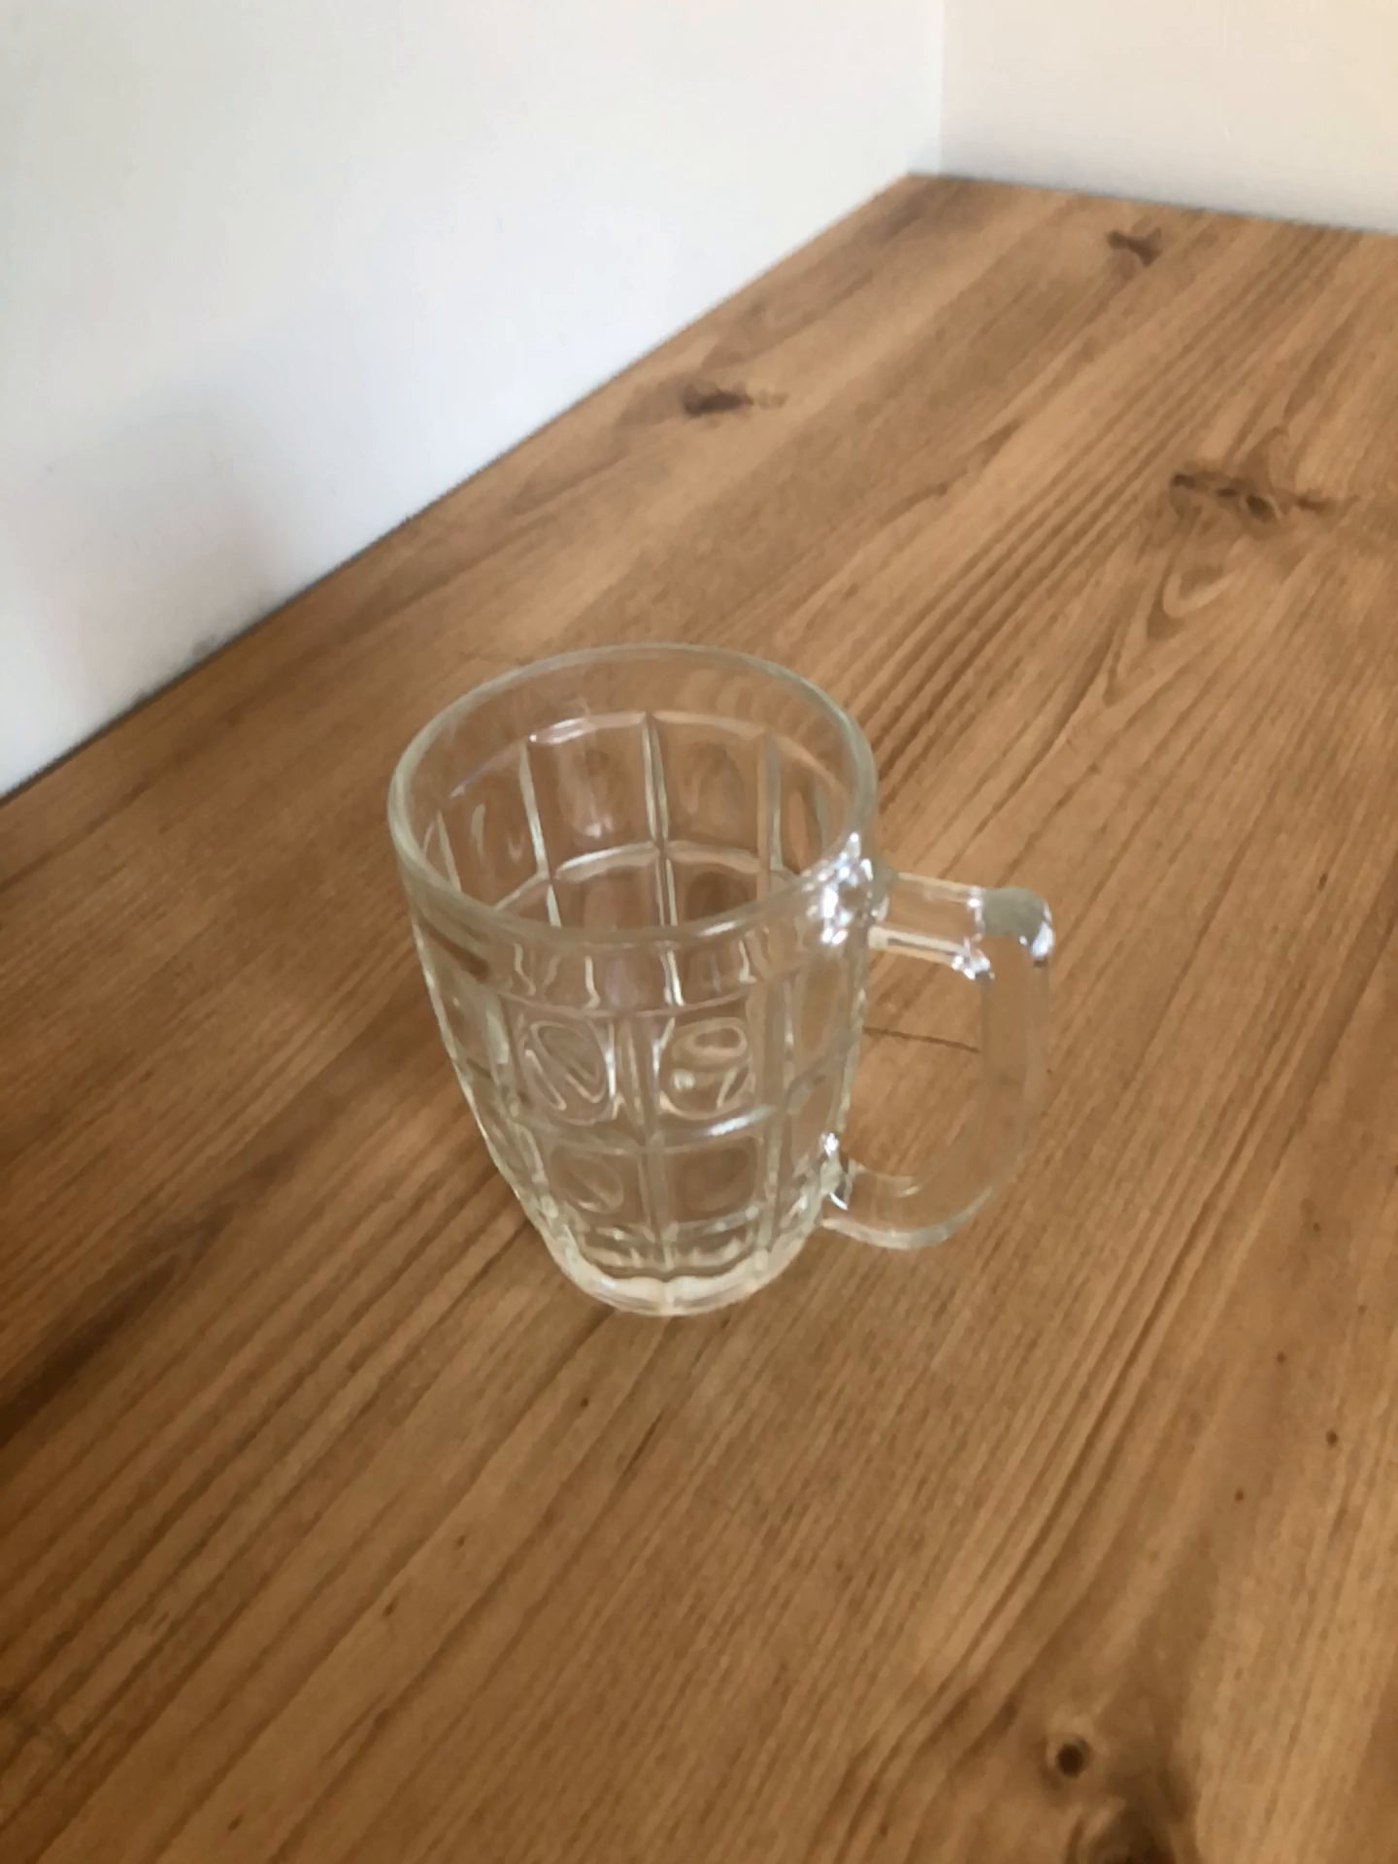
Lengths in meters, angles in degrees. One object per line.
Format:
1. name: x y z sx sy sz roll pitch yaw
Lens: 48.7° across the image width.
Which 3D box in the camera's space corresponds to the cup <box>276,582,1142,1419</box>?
1. cup: 0.009 0.010 0.288 0.119 0.102 0.089 11 47 17
